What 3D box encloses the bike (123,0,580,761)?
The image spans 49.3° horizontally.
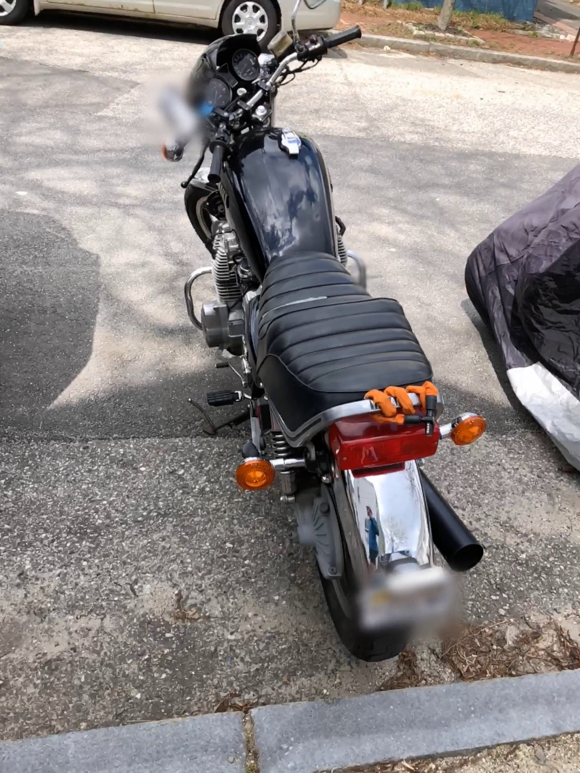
[{"bbox_3d":[-0.085,-0.359,2.070,0.686,1.418,2.309,-5,40,-15],"label":"bike"}]
